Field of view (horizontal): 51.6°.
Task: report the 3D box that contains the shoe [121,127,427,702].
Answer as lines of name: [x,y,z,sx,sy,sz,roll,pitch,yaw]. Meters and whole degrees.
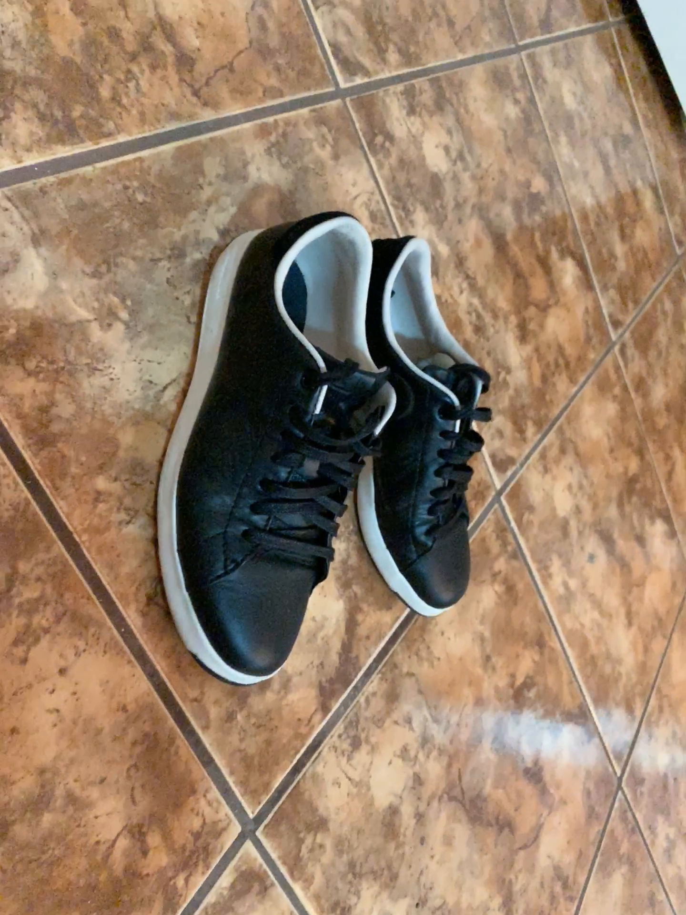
shoe: [-0.027,-0.016,0.358,0.088,0.093,0.255,21,66,-44]

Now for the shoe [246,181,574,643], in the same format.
shoe: [0.046,-0.024,0.441,0.090,0.103,0.255,-26,102,-48]
